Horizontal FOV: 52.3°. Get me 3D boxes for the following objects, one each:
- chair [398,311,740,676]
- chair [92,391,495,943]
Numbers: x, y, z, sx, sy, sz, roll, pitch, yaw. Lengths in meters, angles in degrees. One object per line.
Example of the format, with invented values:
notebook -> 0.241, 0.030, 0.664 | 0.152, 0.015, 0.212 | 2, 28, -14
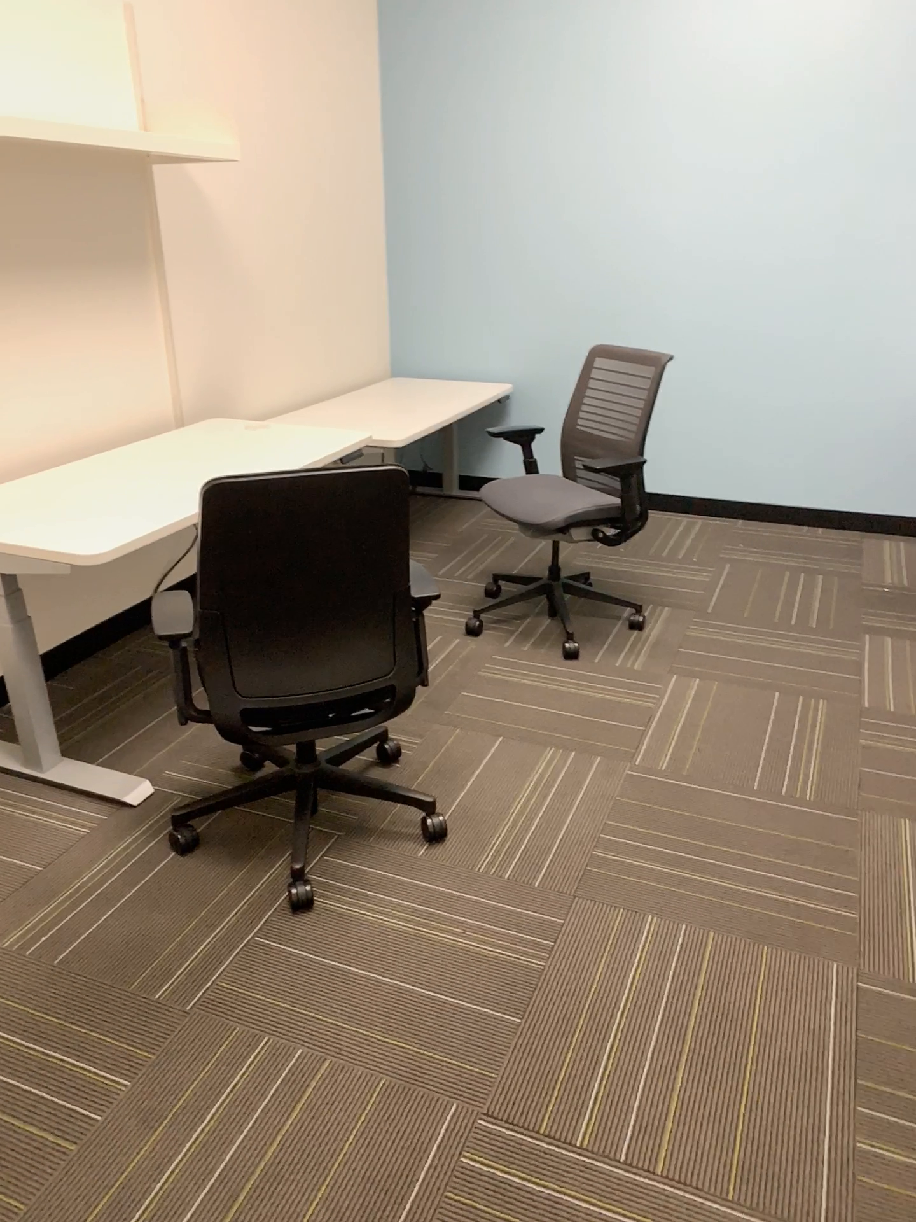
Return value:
chair -> 0.327, -0.478, 3.261 | 0.770, 0.995, 0.895 | -10, 24, -23
chair -> -0.391, 0.047, 2.159 | 0.680, 0.935, 0.774 | -10, 24, -21
